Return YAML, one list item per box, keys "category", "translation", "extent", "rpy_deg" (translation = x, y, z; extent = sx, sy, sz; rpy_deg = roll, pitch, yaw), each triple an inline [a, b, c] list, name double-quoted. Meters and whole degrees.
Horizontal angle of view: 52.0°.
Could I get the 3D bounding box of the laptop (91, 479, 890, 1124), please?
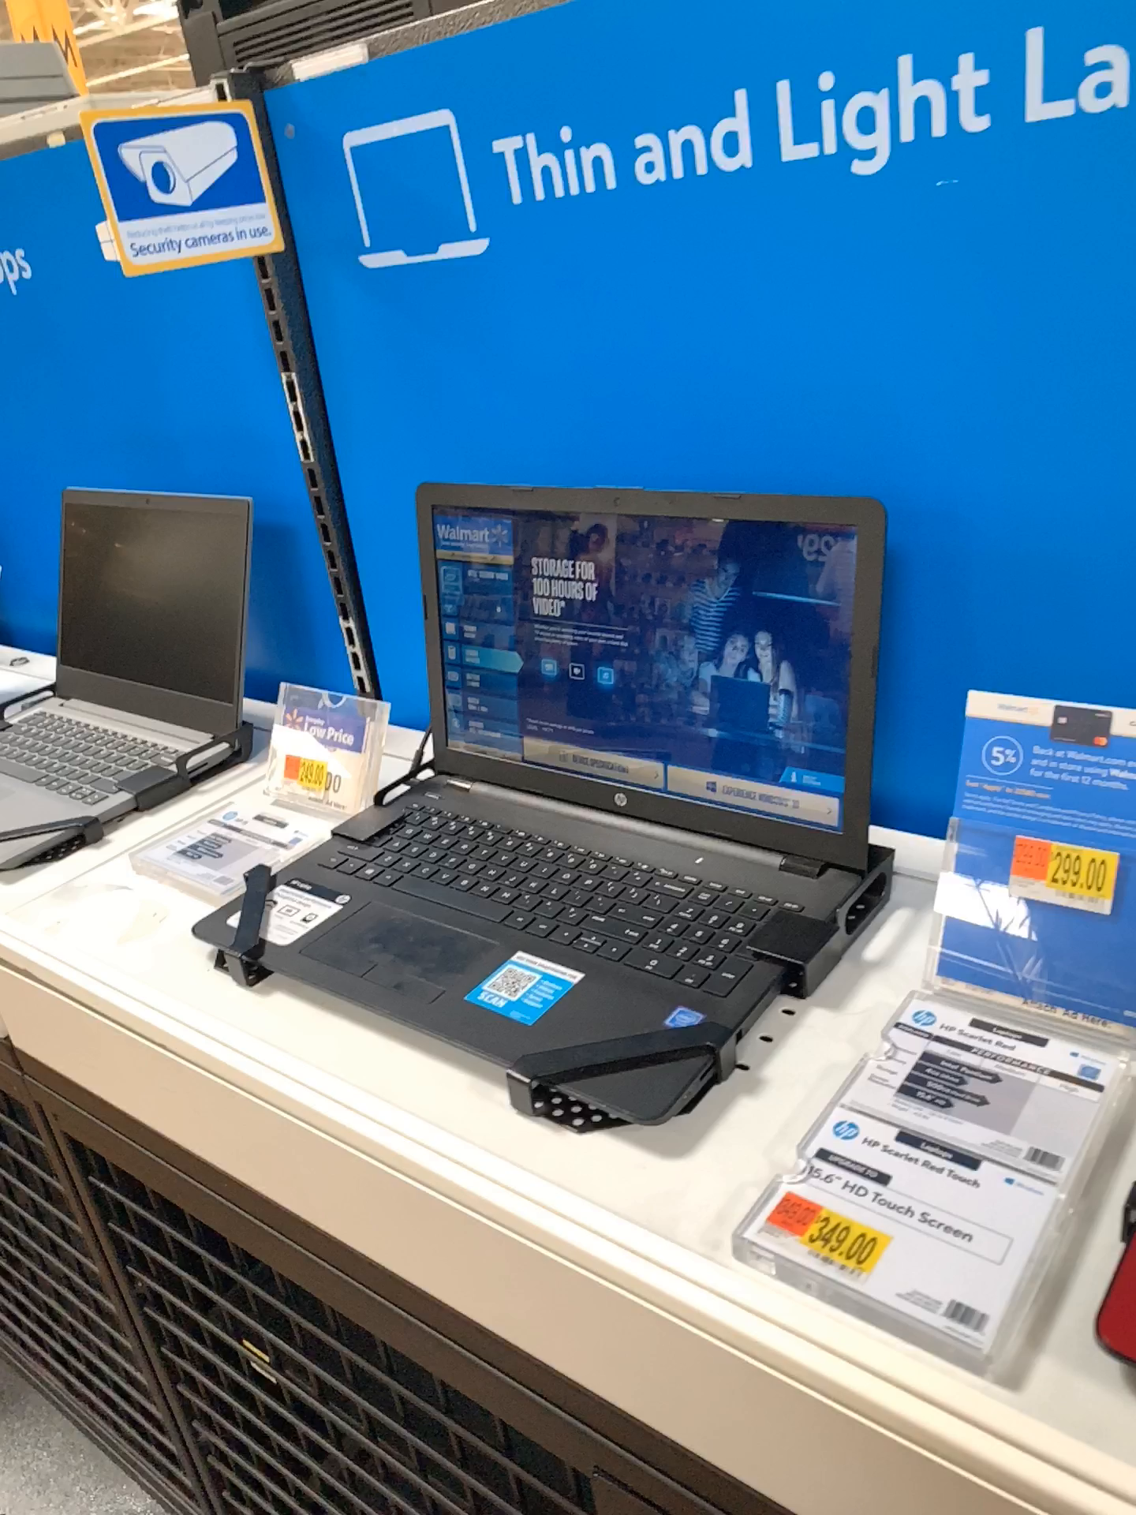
- category: "laptop"
  translation: [-0.035, -0.017, 0.715]
  extent: [0.364, 0.225, 0.286]
  rpy_deg: [11, 32, 36]
